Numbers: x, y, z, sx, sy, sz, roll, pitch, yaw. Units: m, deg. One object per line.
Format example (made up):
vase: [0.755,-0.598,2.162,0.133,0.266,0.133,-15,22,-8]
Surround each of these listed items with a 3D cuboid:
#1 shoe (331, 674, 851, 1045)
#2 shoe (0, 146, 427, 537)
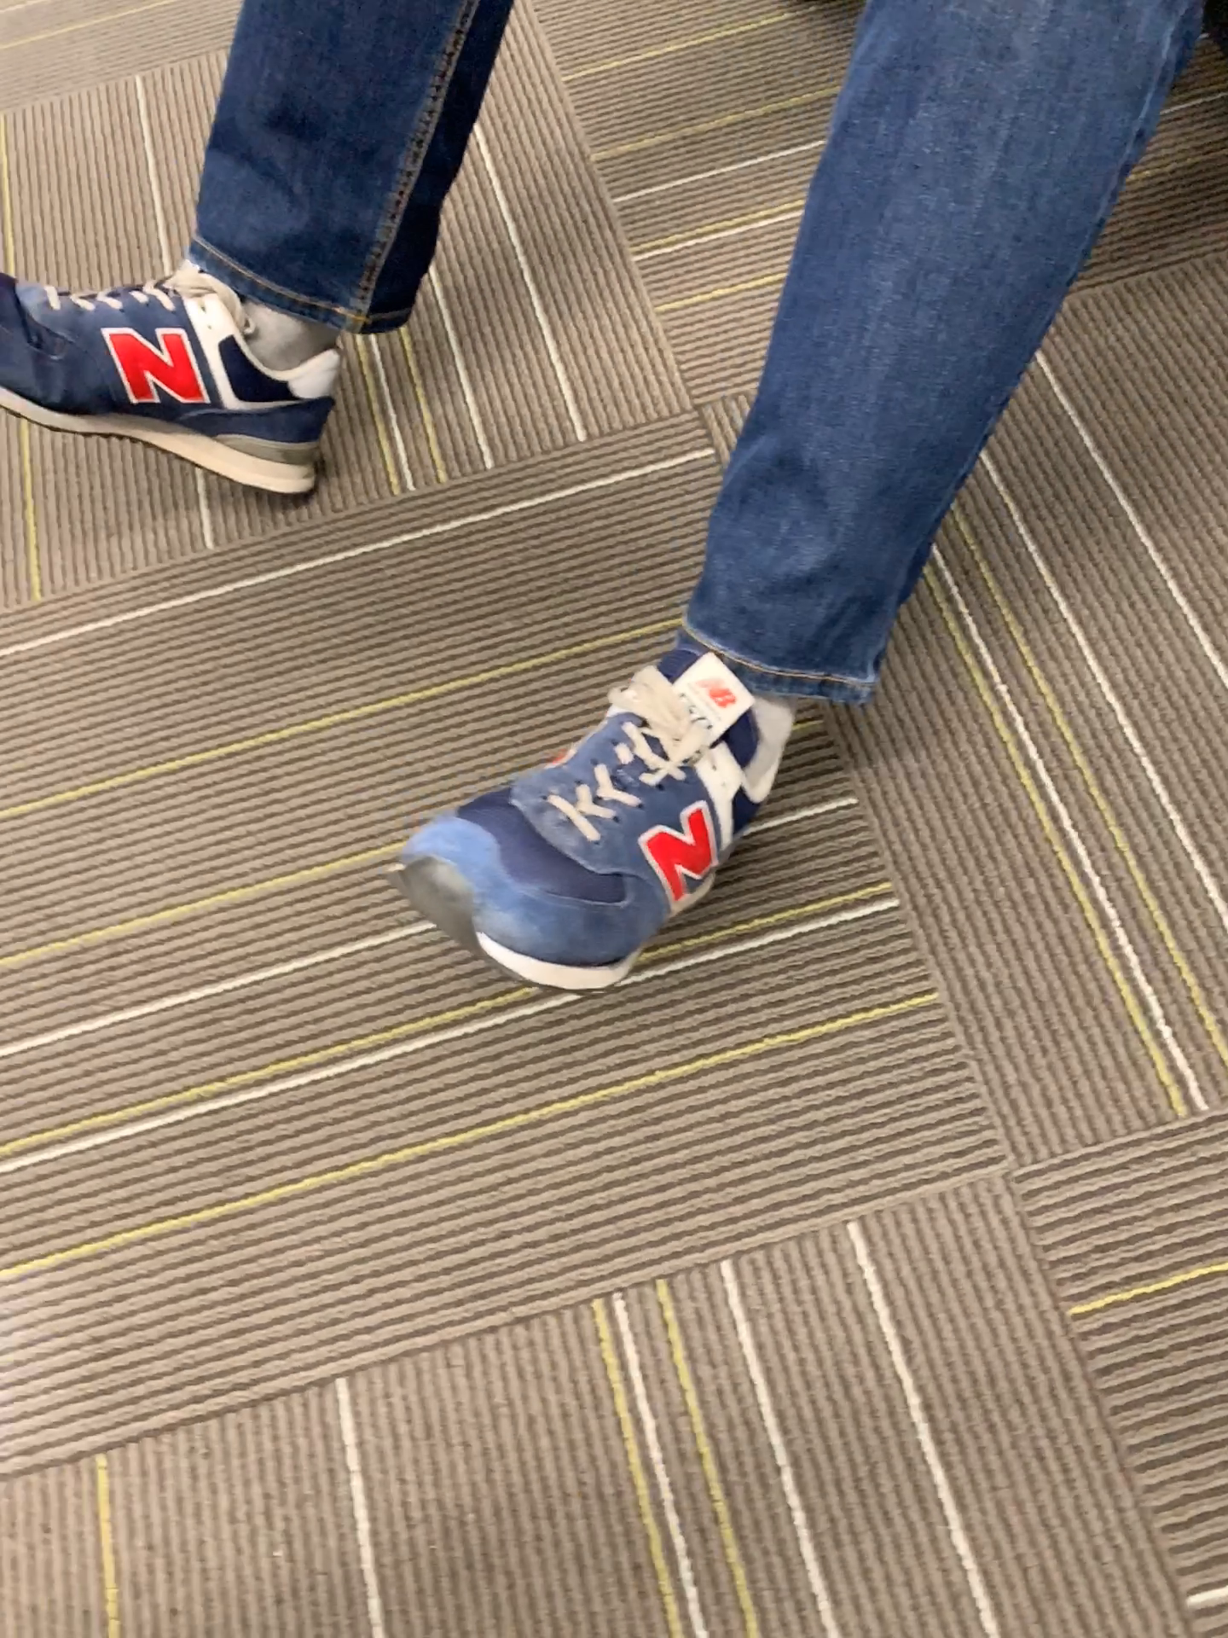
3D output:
shoe: [0.007,0.002,0.666,0.115,0.302,0.096,33,113,20]
shoe: [-0.308,-0.325,0.897,0.121,0.295,0.136,51,120,36]
